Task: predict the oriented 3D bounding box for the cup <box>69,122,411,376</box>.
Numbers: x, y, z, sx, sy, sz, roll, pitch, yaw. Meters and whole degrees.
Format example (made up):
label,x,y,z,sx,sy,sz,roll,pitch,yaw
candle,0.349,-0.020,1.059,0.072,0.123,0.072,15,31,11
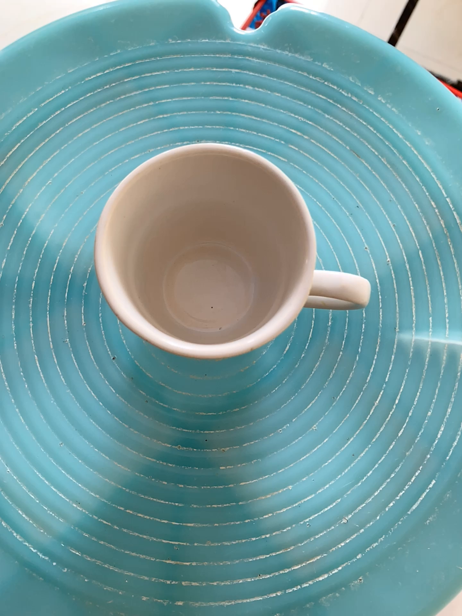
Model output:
label,x,y,z,sx,sy,sz,roll,pitch,yaw
cup,0.002,-0.013,0.163,0.090,0.060,0.070,0,80,-2
